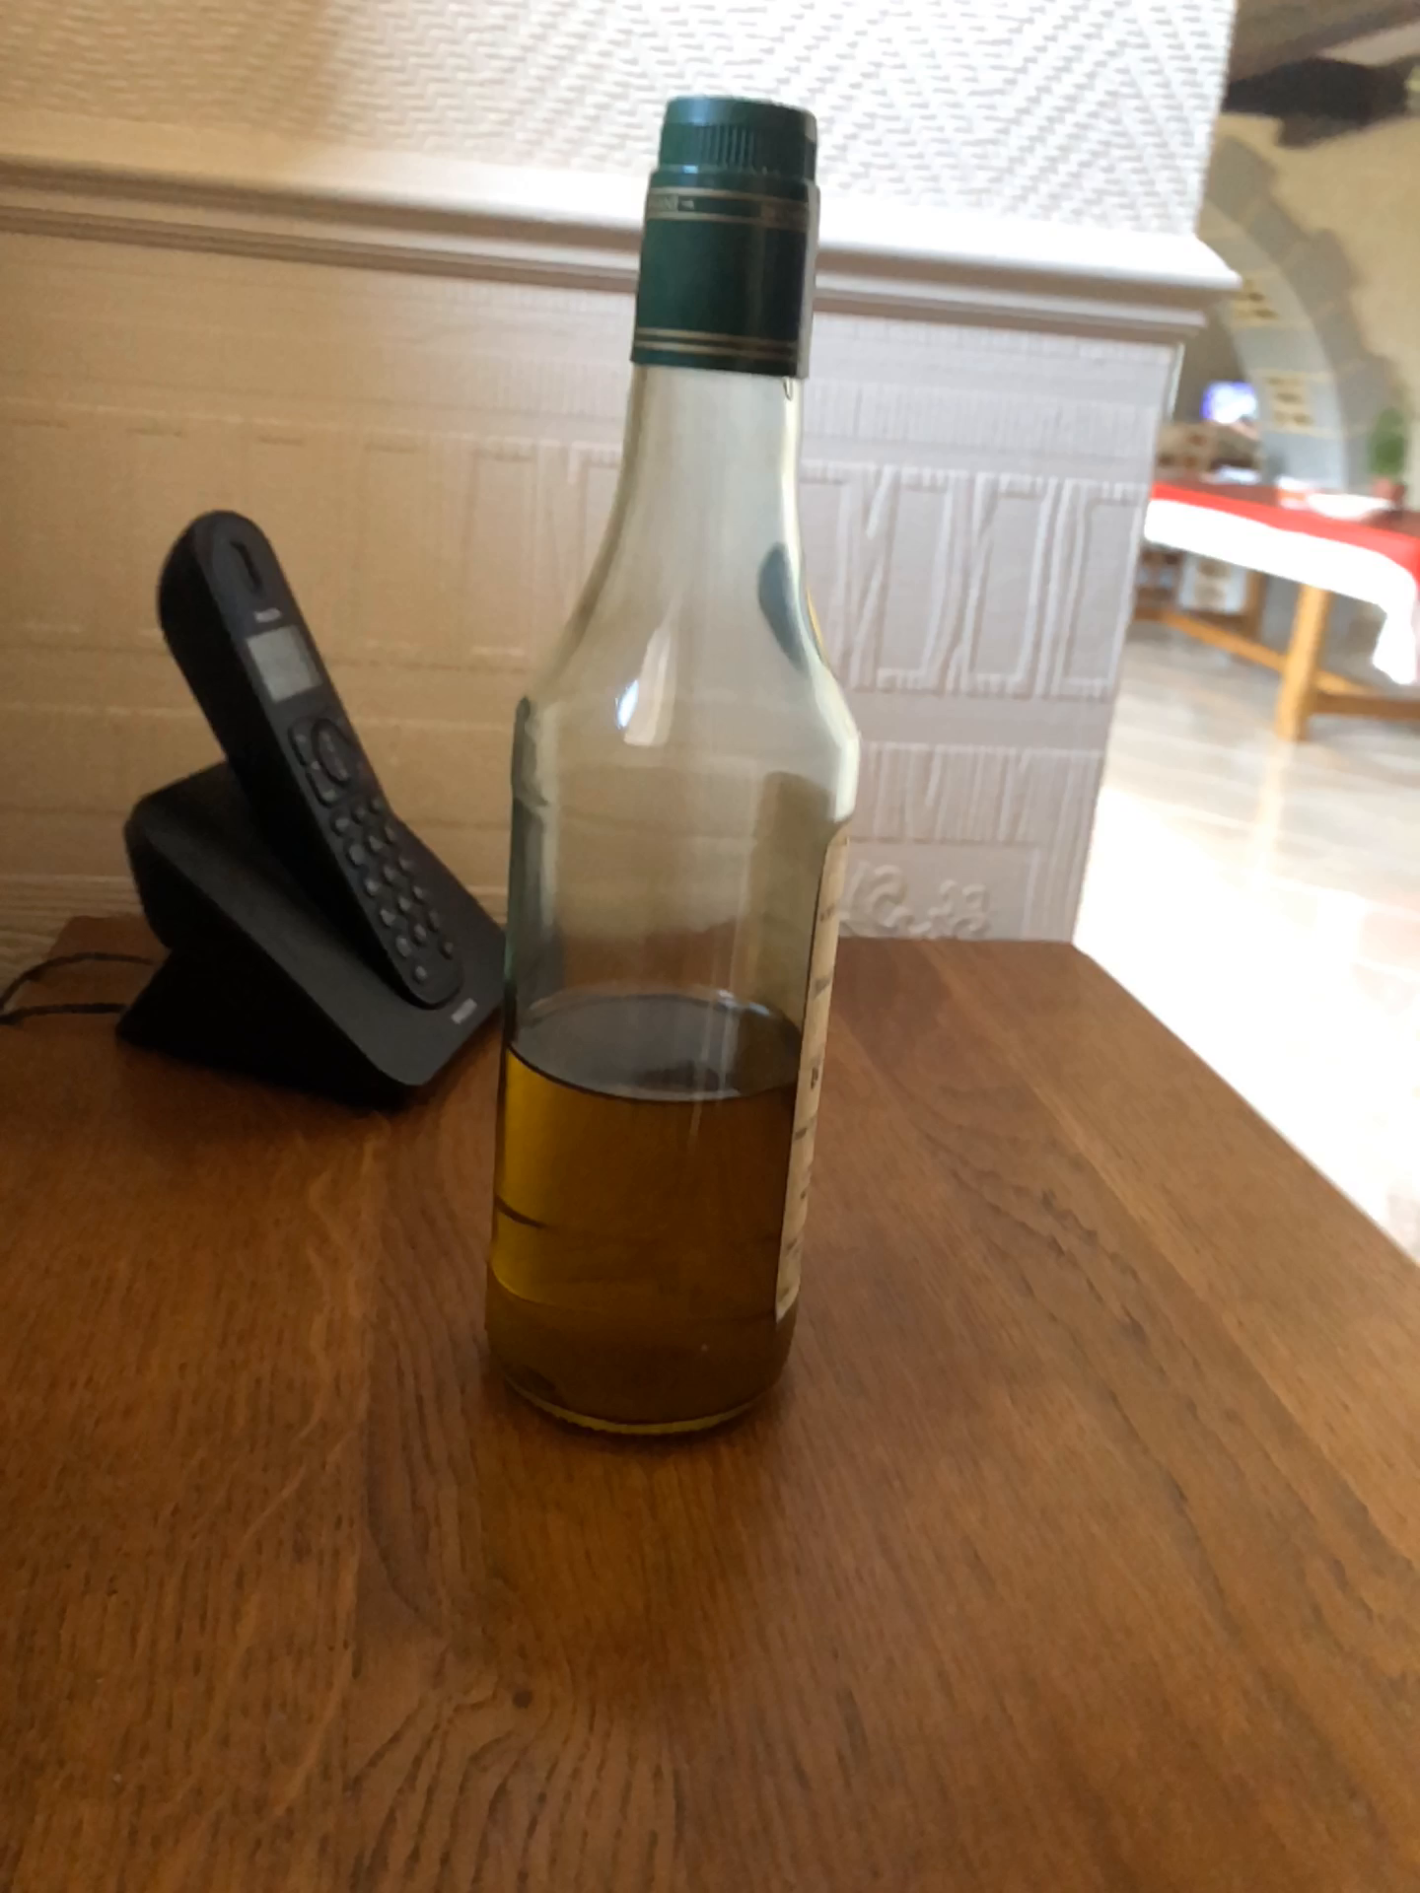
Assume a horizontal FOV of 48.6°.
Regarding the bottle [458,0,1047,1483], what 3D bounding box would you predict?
[{"bbox_3d":[-0.004,-0.027,0.309,0.080,0.259,0.070,1,20,-11],"label":"bottle"}]
